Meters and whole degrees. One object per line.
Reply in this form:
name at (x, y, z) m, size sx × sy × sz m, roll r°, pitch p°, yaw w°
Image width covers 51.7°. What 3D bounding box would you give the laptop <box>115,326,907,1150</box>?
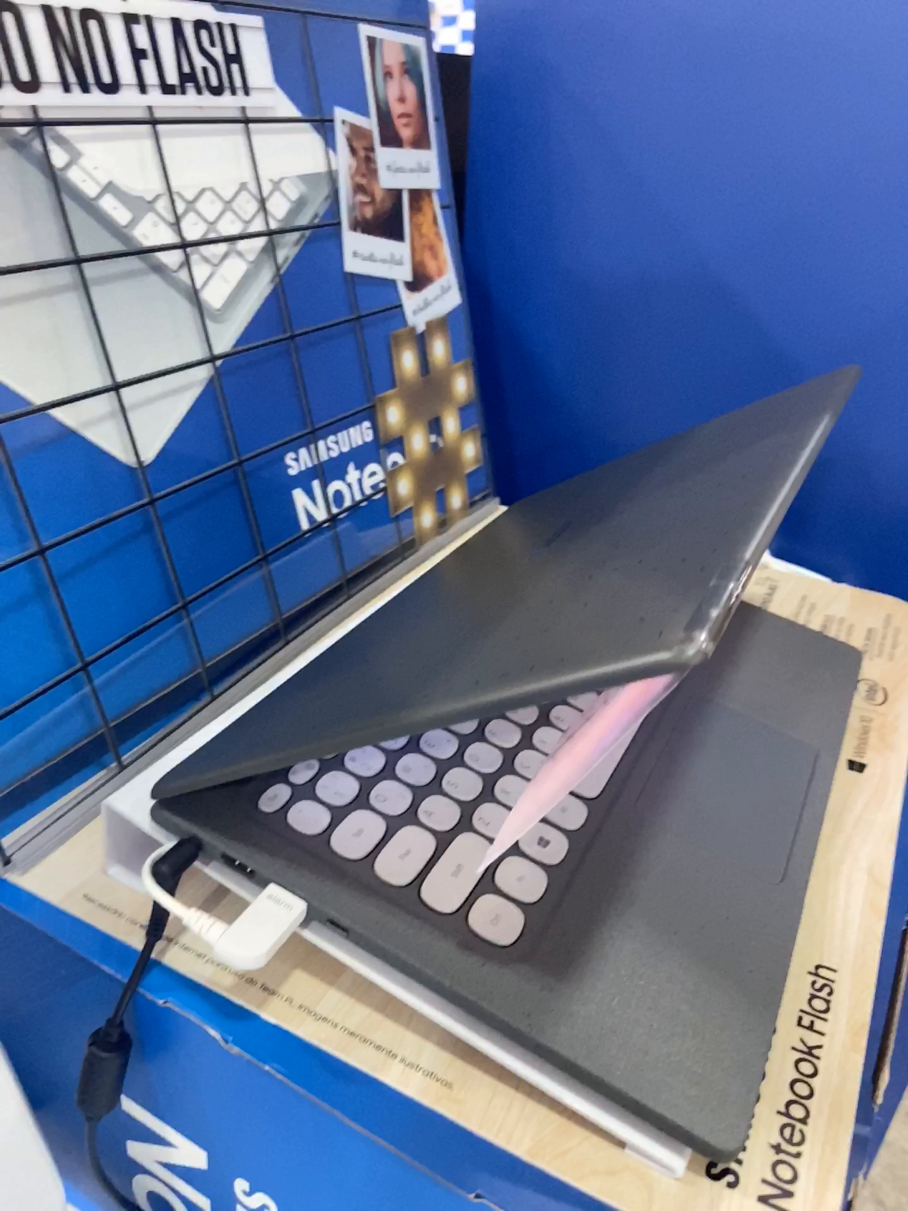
laptop at (0.064, -0.002, 0.401) m, size 0.210 × 0.114 × 0.324 m, roll 23°, pitch 33°, yaw 19°
